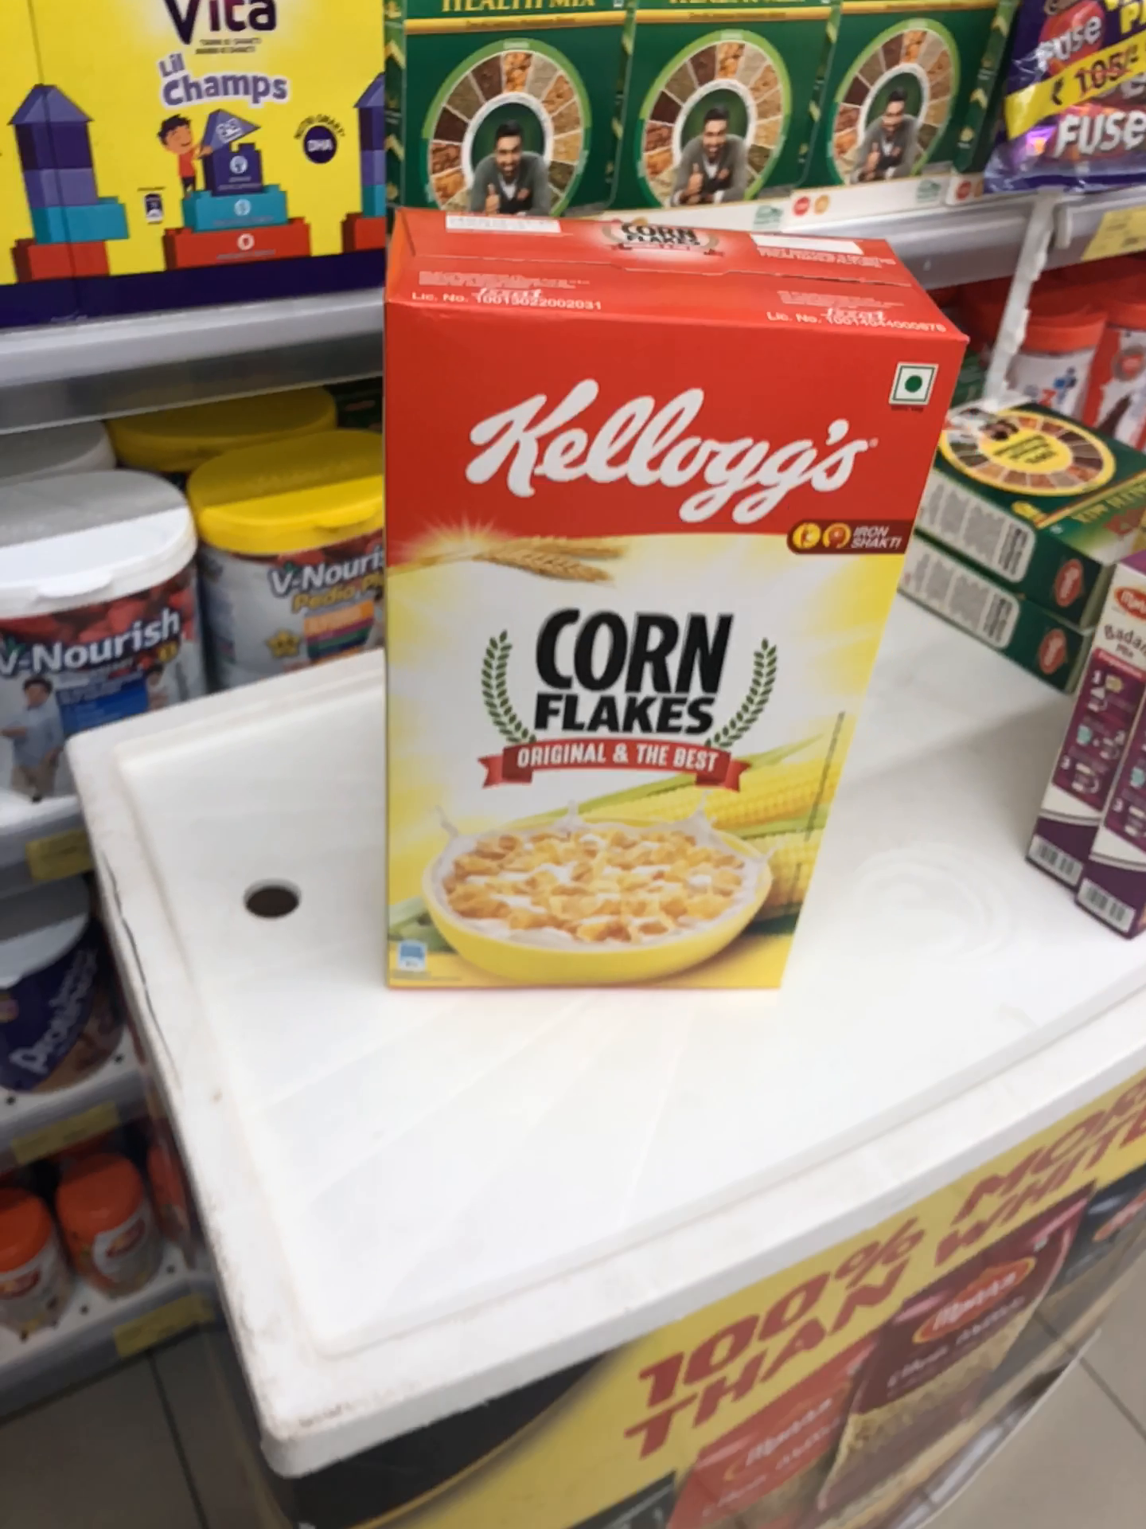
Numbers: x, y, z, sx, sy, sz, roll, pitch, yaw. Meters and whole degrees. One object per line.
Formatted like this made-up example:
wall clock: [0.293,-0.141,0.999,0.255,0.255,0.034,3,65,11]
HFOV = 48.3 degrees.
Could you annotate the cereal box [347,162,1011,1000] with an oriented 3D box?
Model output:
cereal box: [0.019,-0.052,0.529,0.200,0.329,0.110,1,40,-5]
